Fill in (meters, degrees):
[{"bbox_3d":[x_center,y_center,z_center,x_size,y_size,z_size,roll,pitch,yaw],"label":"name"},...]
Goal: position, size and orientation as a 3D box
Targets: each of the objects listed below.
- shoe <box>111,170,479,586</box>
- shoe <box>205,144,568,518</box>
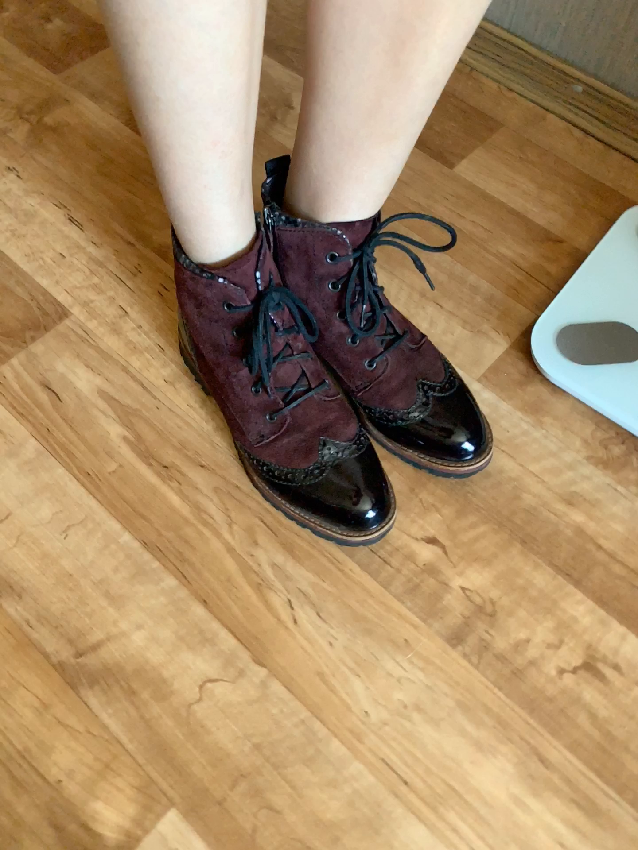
[{"bbox_3d":[-0.028,-0.034,0.475,0.100,0.140,0.260,-33,68,-19],"label":"shoe"},{"bbox_3d":[0.037,-0.074,0.518,0.100,0.140,0.260,-38,70,-21],"label":"shoe"}]
